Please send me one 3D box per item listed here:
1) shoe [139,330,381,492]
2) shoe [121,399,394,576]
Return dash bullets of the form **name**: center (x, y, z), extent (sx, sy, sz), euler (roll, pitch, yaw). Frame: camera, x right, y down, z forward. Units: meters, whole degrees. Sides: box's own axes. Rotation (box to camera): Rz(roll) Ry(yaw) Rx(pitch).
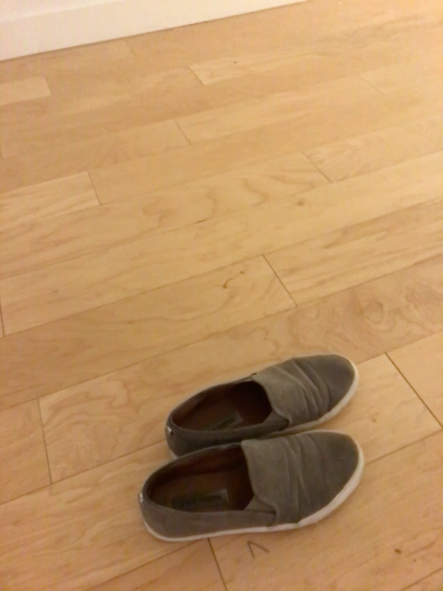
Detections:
- **shoe**: center (0.047, 0.141, 0.617), extent (0.280, 0.050, 0.111), euler (-16, 50, -11)
- **shoe**: center (0.034, 0.213, 0.549), extent (0.280, 0.050, 0.121), euler (-11, 49, -6)
